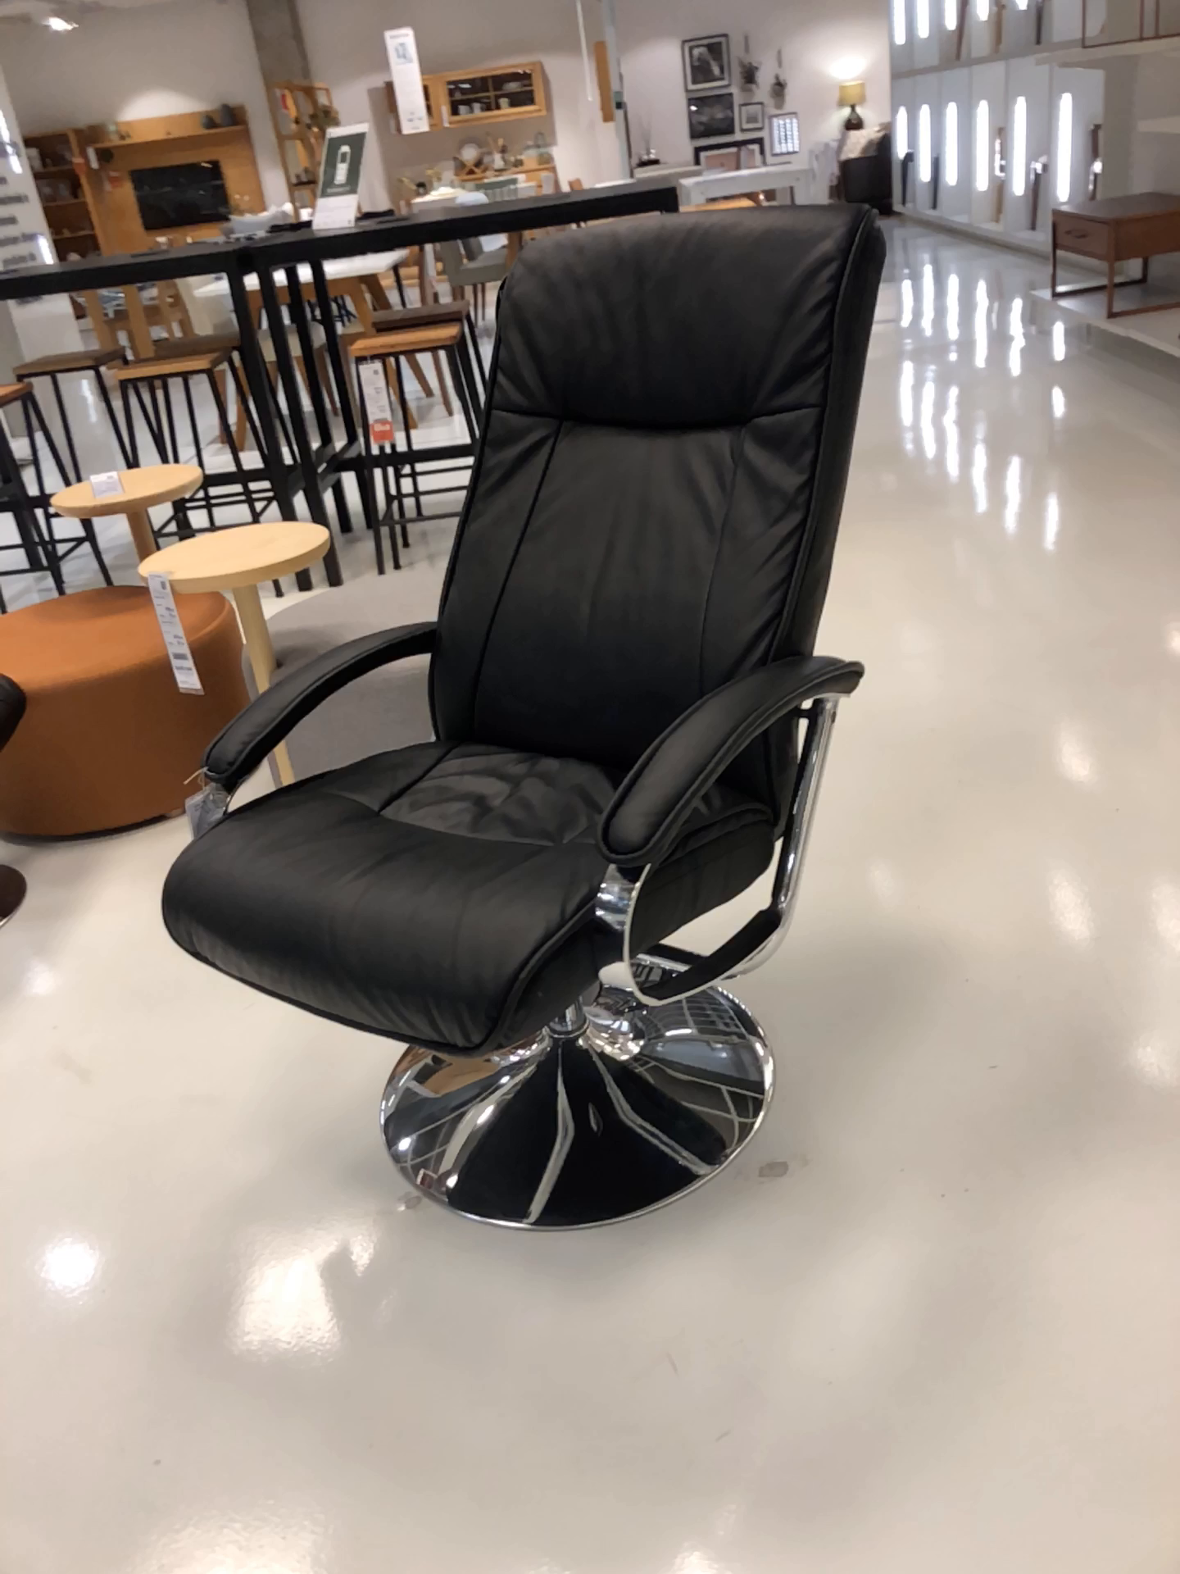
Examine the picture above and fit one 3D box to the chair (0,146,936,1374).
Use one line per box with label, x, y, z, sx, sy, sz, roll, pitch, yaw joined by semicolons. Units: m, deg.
chair;-0.059;-0.087;1.590;0.751;1.132;0.724;8;30;29
